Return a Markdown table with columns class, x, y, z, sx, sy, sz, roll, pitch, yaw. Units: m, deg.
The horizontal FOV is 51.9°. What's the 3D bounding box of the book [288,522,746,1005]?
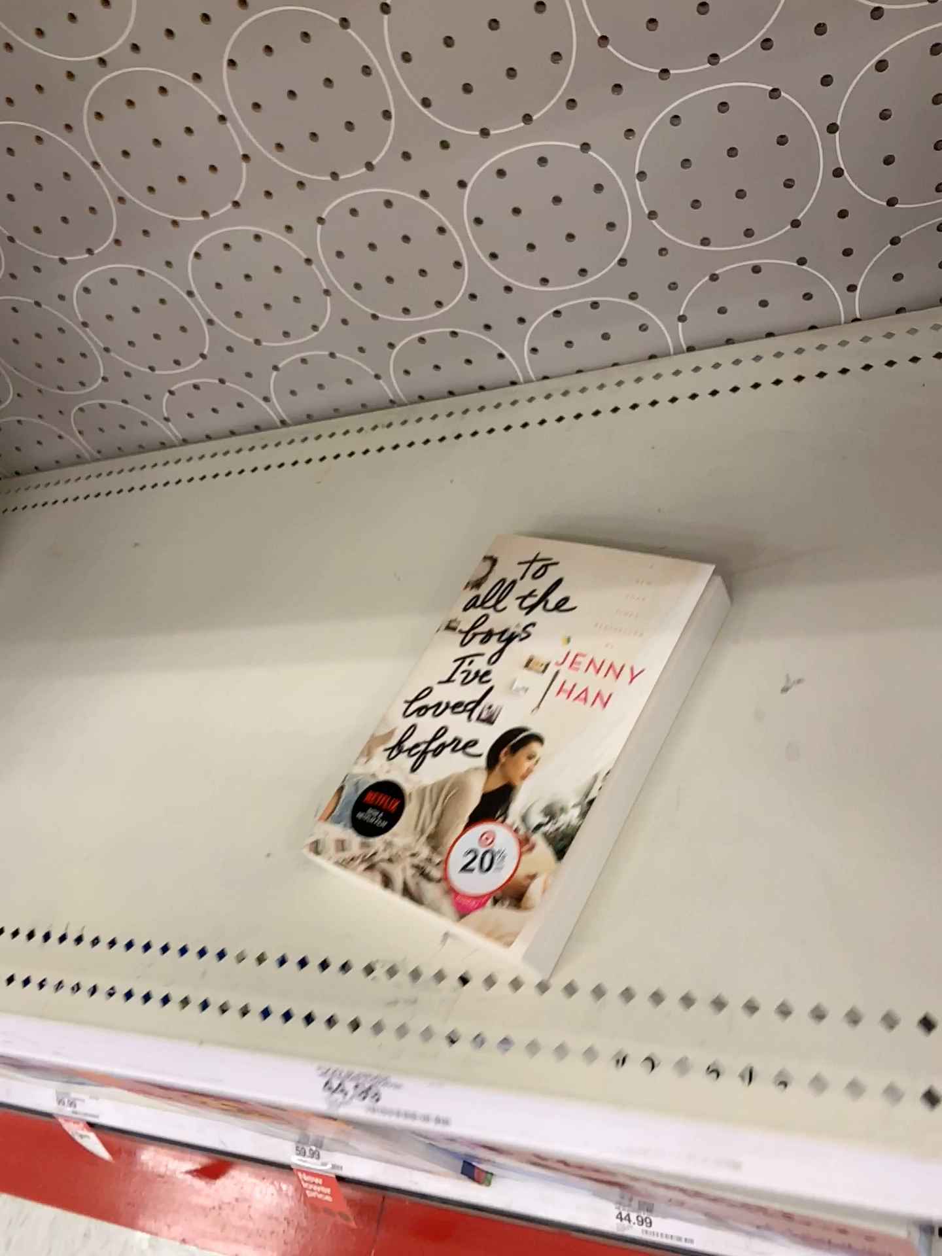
| class | x | y | z | sx | sy | sz | roll | pitch | yaw |
| --- | --- | --- | --- | --- | --- | --- | --- | --- | --- |
| book | 0.025 | 0.050 | 0.480 | 0.144 | 0.034 | 0.214 | 15 | 63 | 35 |
